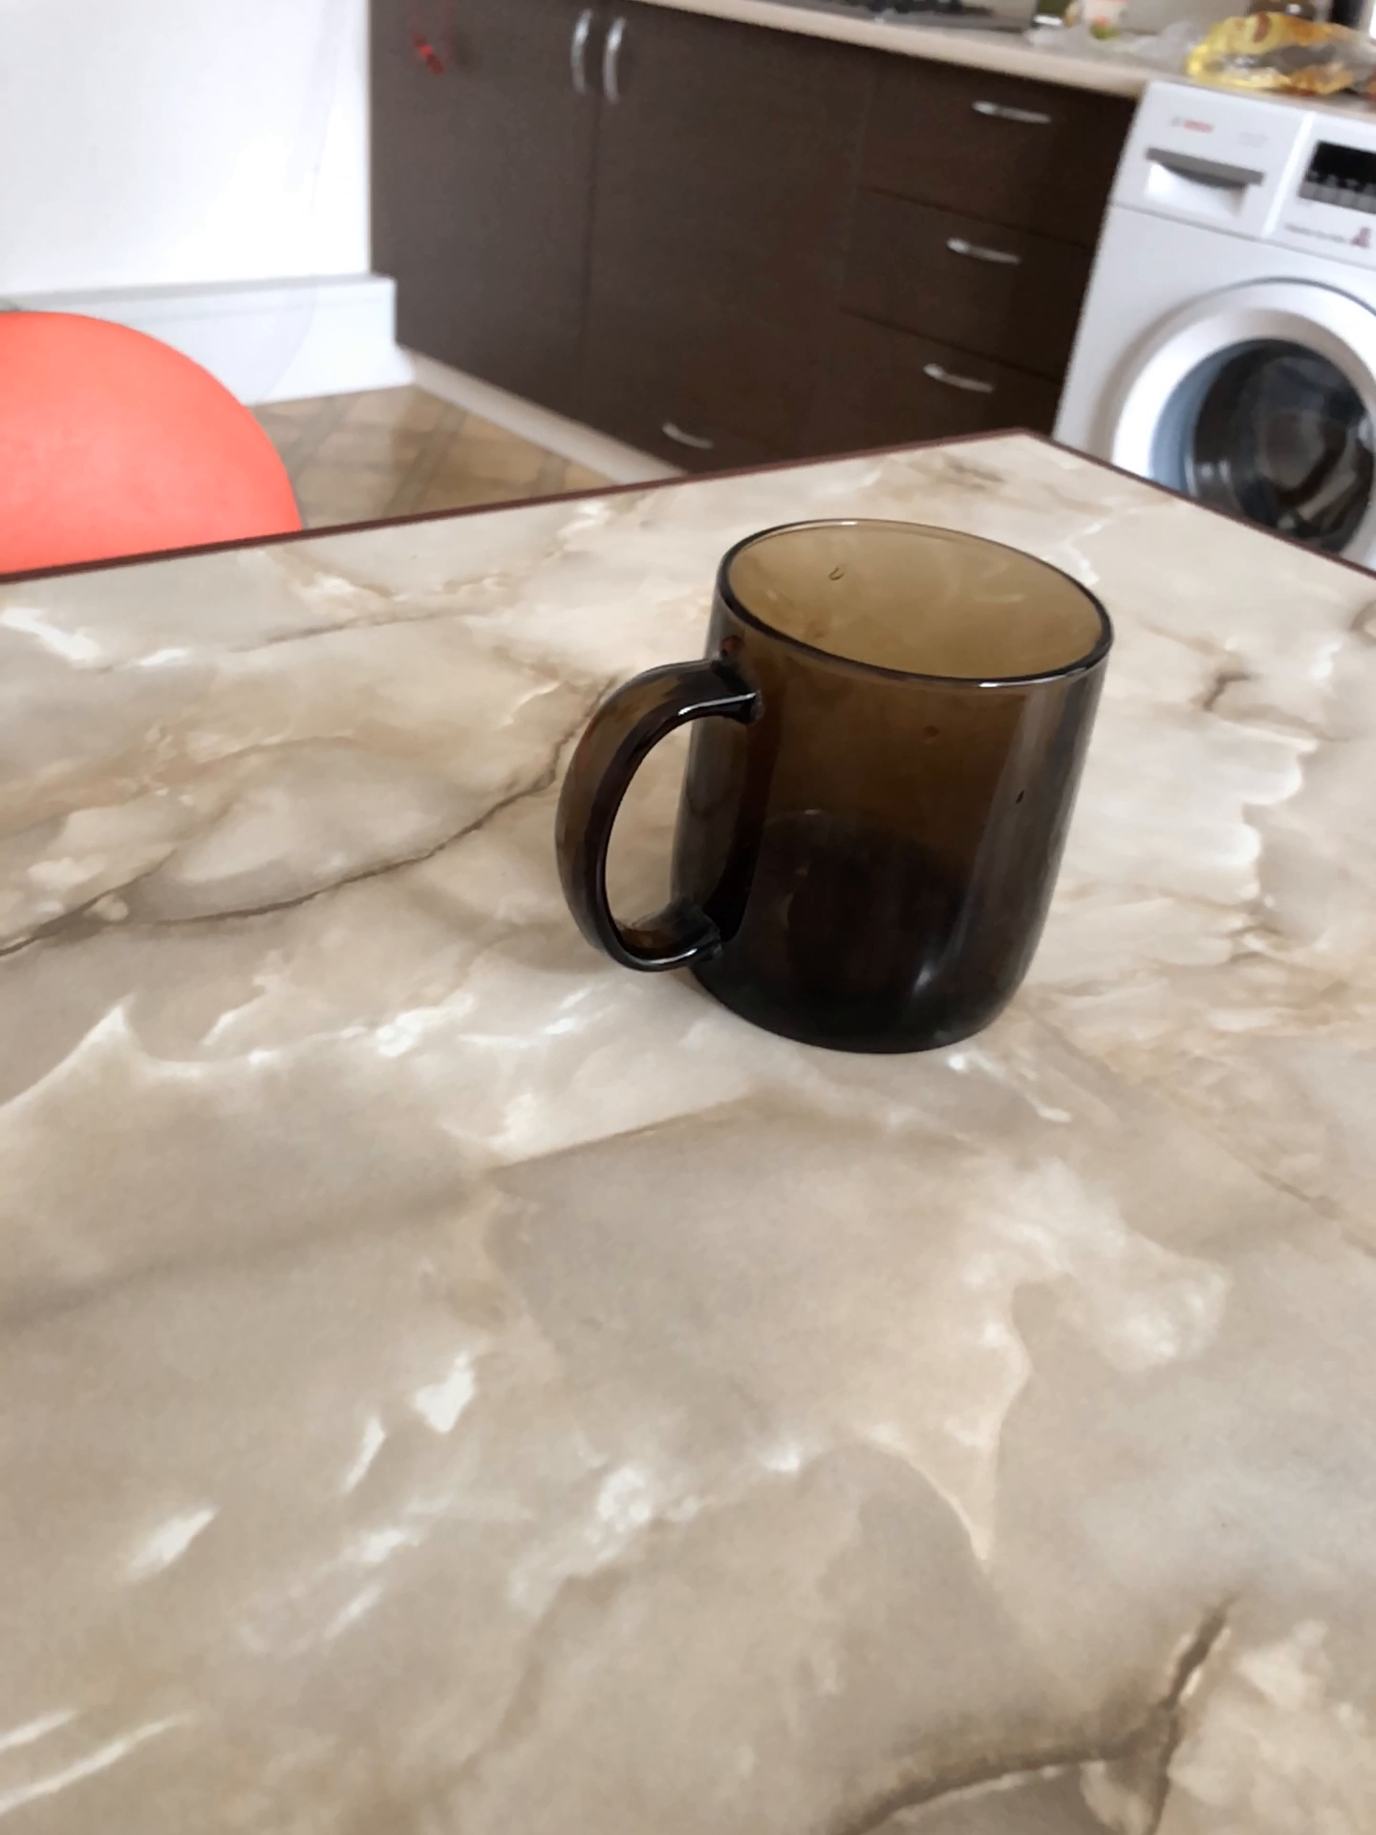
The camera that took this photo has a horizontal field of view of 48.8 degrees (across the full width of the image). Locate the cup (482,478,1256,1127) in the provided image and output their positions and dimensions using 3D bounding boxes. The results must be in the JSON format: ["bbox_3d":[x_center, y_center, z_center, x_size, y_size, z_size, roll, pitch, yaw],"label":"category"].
[{"bbox_3d":[0.031,-0.032,0.326,0.123,0.090,0.091,-11,38,-25],"label":"cup"}]
